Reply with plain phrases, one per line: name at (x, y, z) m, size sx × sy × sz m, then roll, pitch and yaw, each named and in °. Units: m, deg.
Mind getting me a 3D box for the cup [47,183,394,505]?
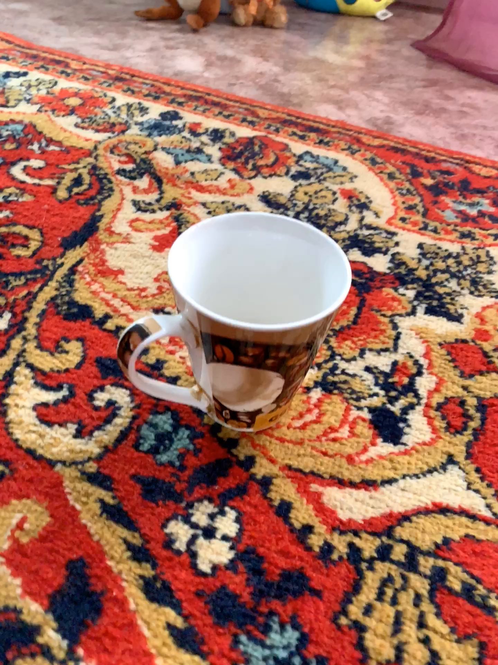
cup at (-0.014, -0.001, 0.228) m, size 0.110 × 0.079 × 0.080 m, roll -20°, pitch 49°, yaw -26°
